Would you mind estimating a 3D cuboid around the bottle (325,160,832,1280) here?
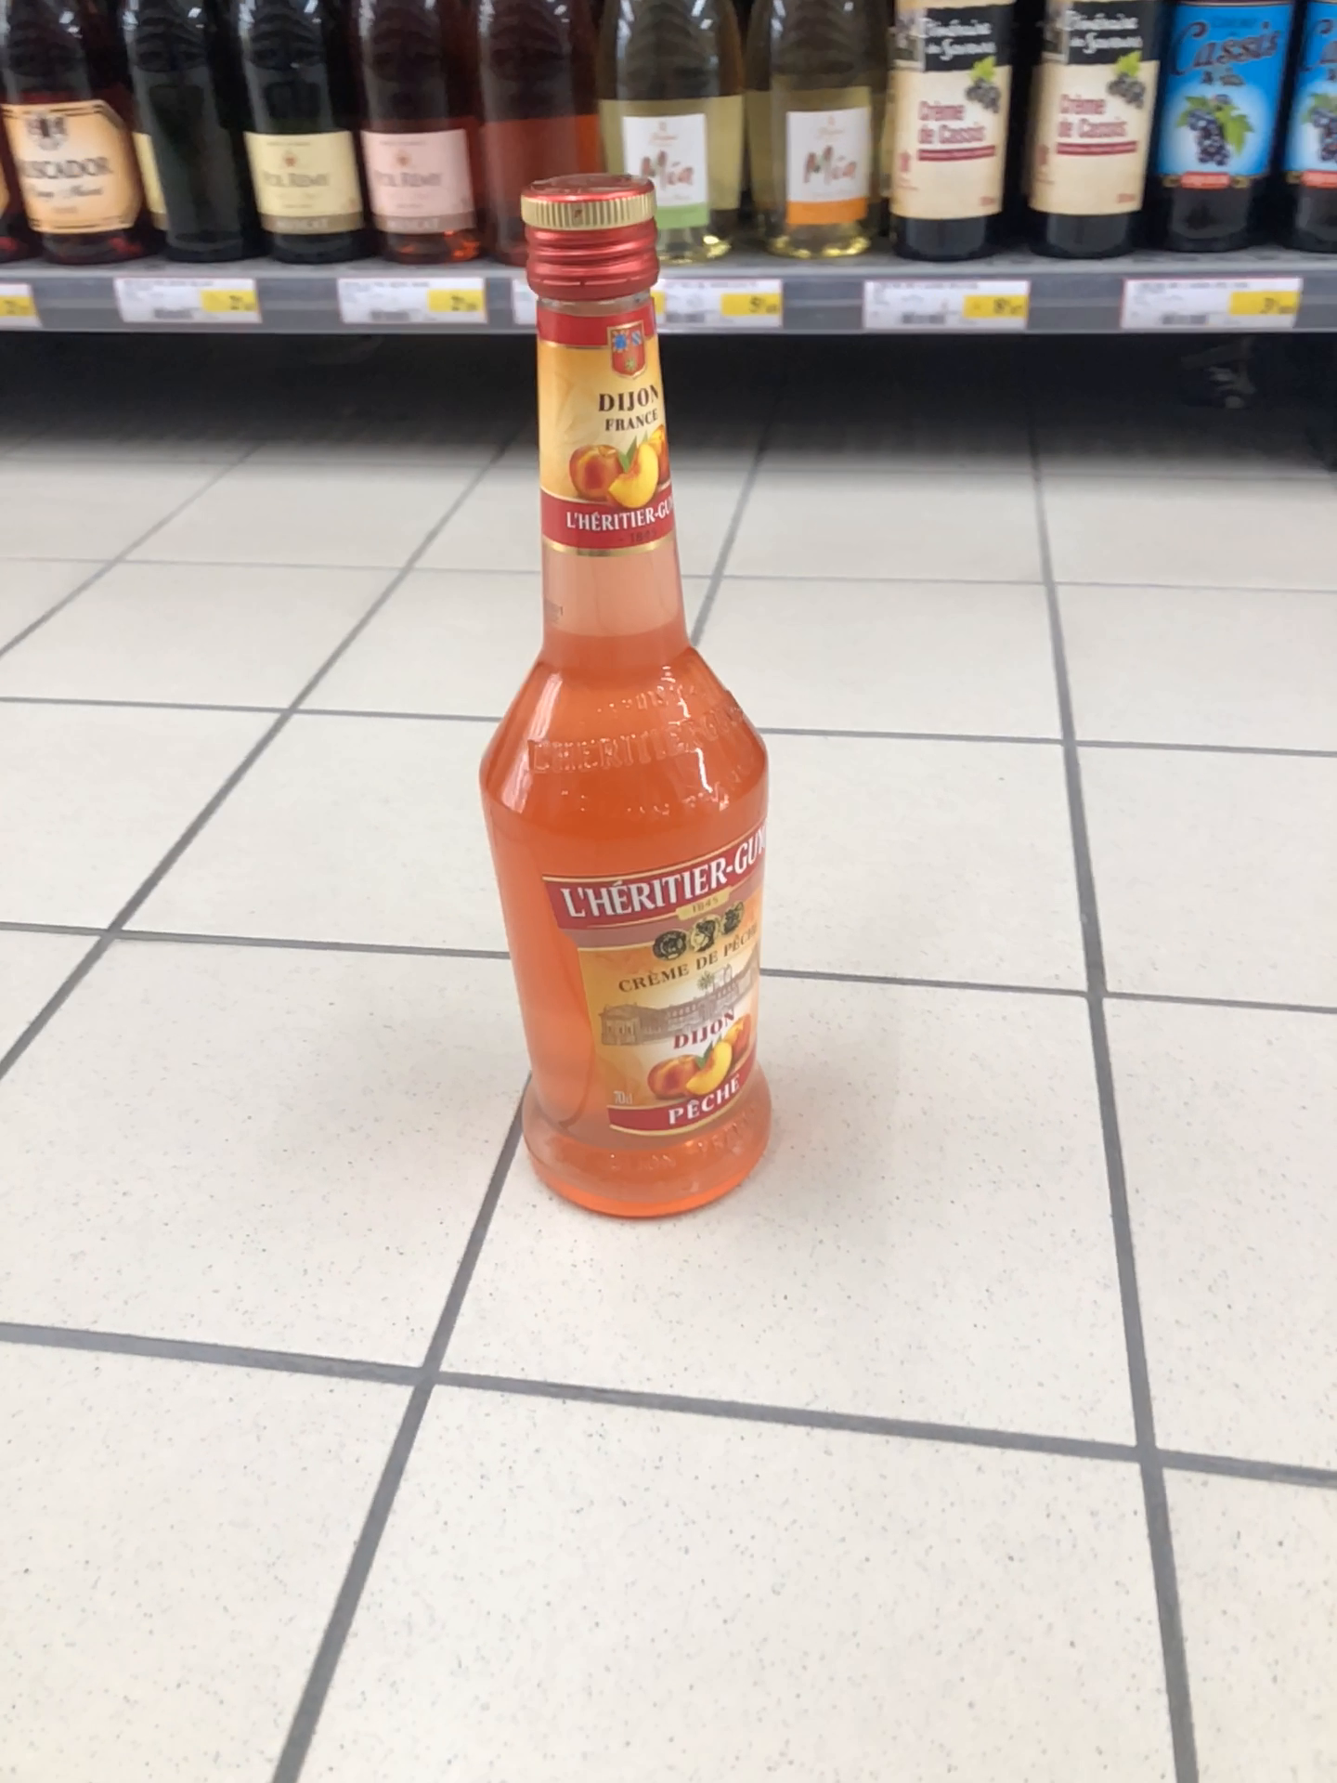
[{"bbox_3d":[-0.018,-0.039,0.428,0.090,0.298,0.090,-2,33,1],"label":"bottle"}]
